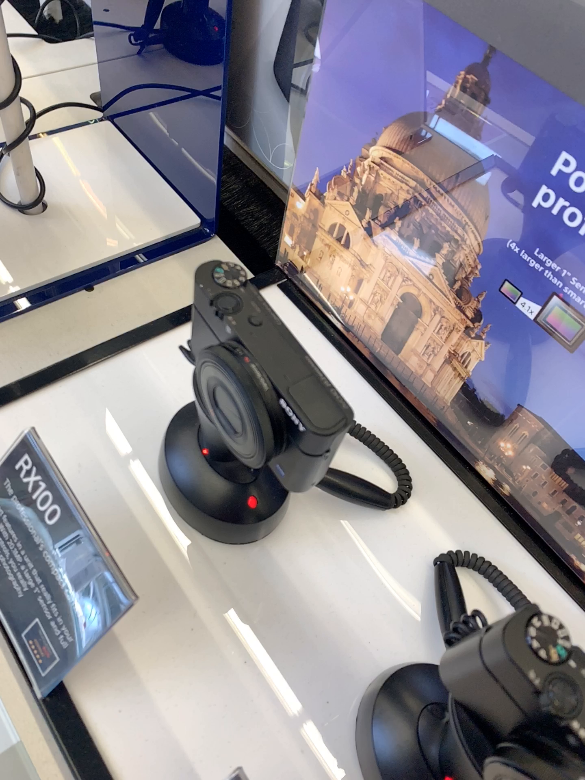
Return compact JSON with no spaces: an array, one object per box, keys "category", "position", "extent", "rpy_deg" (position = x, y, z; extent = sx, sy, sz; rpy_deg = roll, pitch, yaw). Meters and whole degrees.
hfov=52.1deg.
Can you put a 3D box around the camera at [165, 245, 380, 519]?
[{"category":"camera","position":[-0.016,-0.004,0.278],"extent":[0.040,0.069,0.100],"rpy_deg":[-27,64,-26]}]
